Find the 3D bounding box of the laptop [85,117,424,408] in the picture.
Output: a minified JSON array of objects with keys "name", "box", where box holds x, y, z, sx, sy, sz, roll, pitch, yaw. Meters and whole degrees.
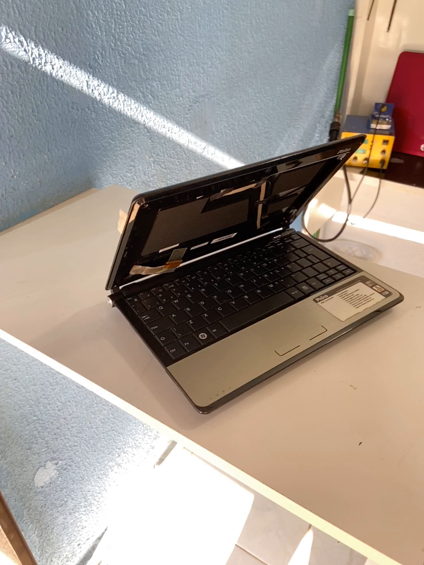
[{"name":"laptop","box":[0.050,-0.047,0.442,0.276,0.144,0.177,-22,42,-28]}]
